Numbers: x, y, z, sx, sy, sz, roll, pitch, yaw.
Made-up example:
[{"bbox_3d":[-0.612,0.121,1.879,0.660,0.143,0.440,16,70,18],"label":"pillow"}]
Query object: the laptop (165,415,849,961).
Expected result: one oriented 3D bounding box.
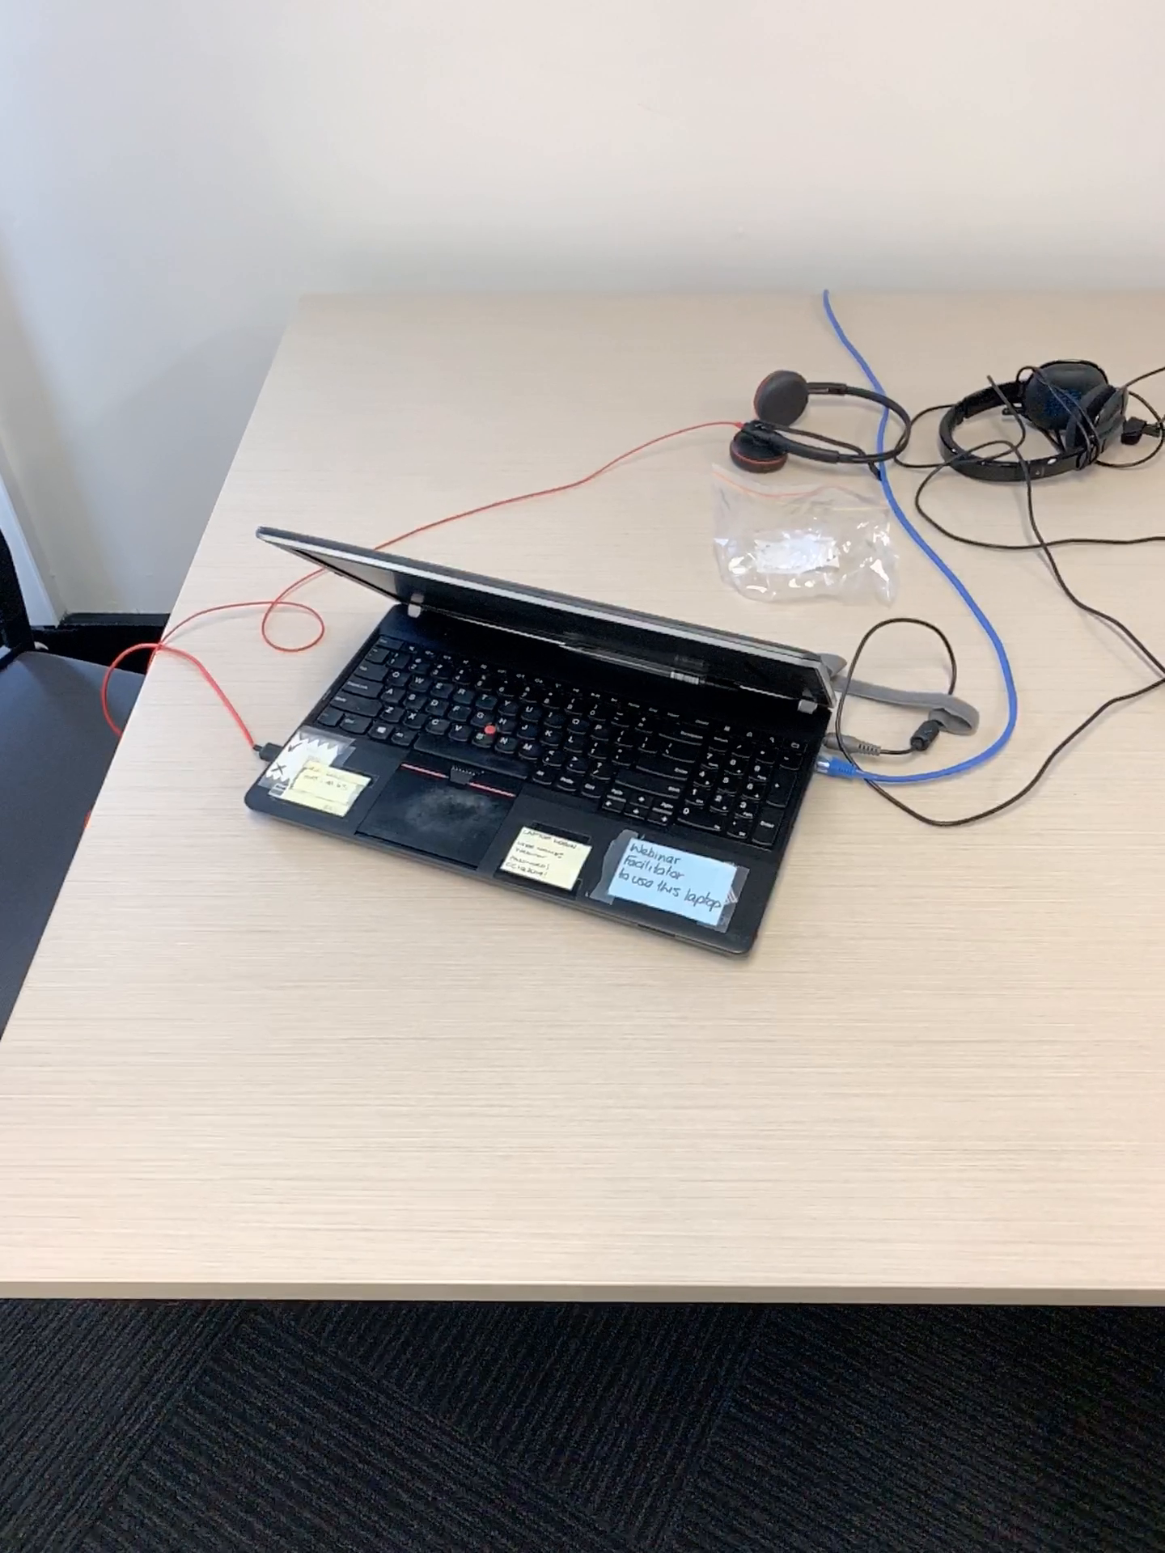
[{"bbox_3d":[-0.030,-0.070,0.710,0.326,0.157,0.227,15,44,16],"label":"laptop"}]
